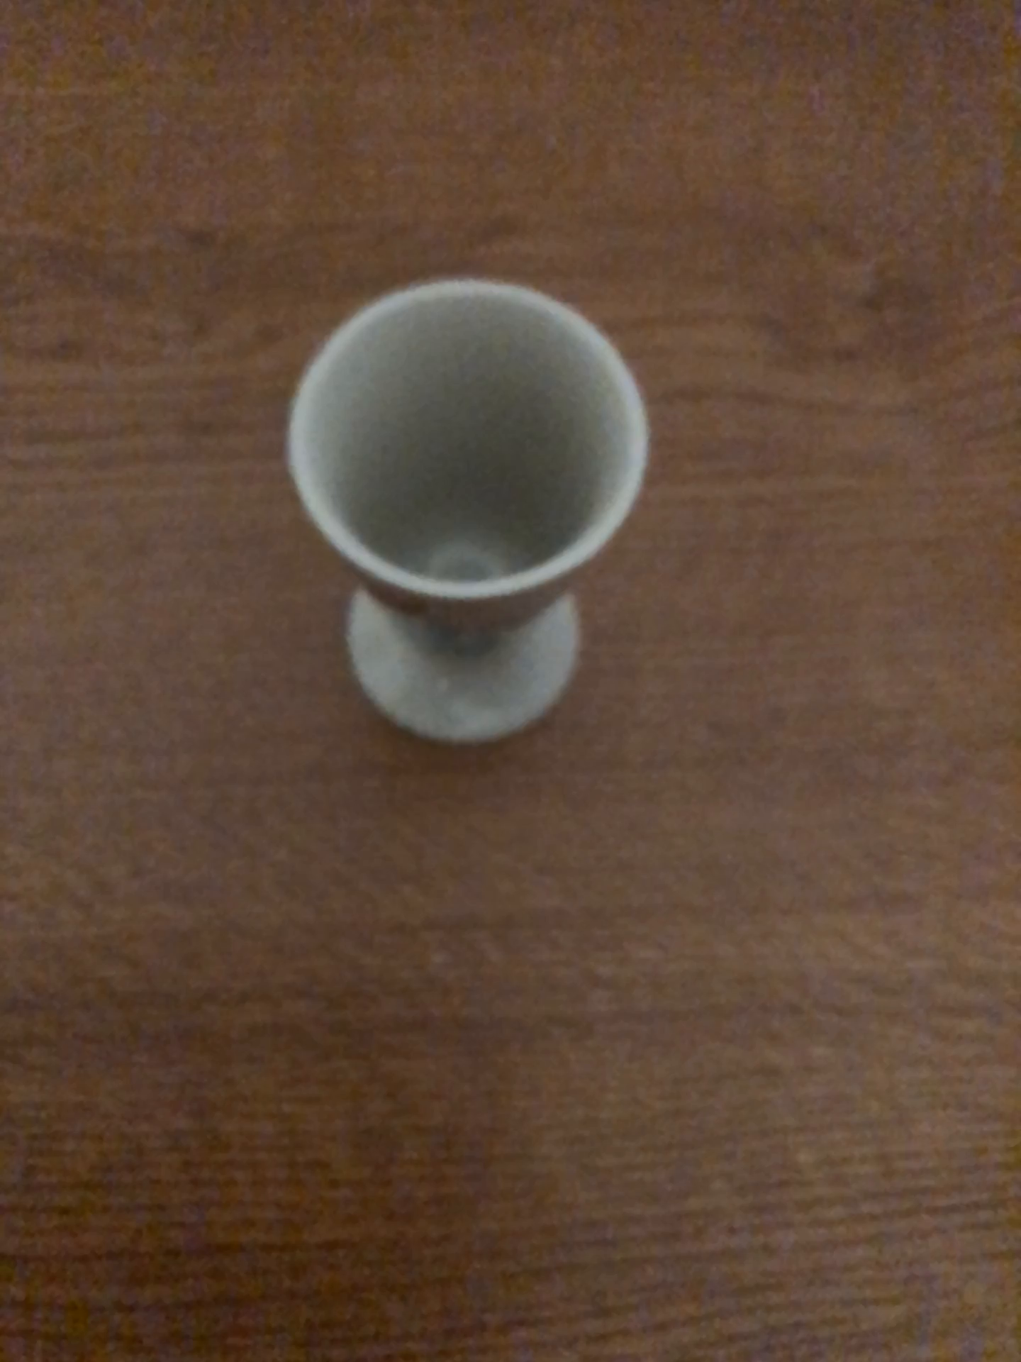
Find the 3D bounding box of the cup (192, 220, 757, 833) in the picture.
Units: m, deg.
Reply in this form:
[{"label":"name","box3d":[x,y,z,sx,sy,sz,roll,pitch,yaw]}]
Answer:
[{"label":"cup","box3d":[-0.009,-0.027,0.290,0.080,0.120,0.080,1,74,-3]}]

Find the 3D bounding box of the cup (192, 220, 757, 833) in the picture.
[{"label":"cup","box3d":[-0.009,-0.027,0.290,0.080,0.120,0.080,1,74,-3]}]
